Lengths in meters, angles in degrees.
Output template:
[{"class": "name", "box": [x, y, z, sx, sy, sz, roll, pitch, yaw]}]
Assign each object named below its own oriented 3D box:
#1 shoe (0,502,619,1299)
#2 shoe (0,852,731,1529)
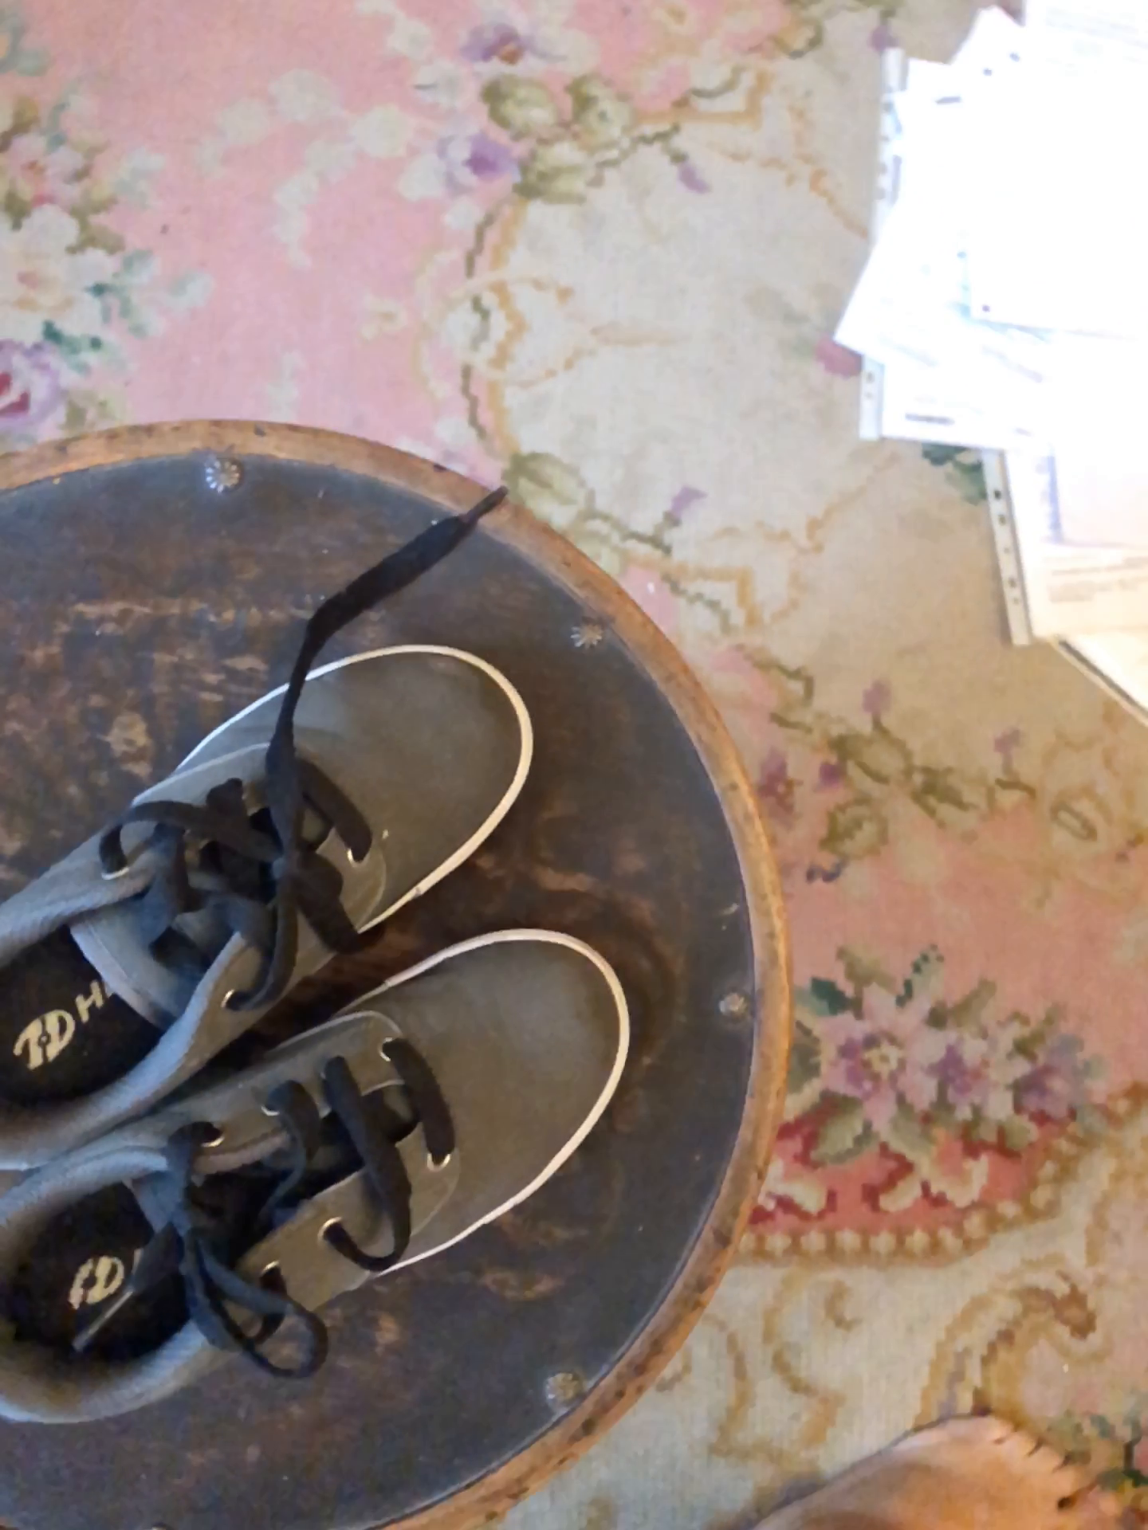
[{"class": "shoe", "box": [-0.103, 0.034, 0.375, 0.211, 0.100, 0.090, -39, 90, -7]}, {"class": "shoe", "box": [-0.076, 0.118, 0.378, 0.211, 0.100, 0.090, -29, 89, -7]}]
